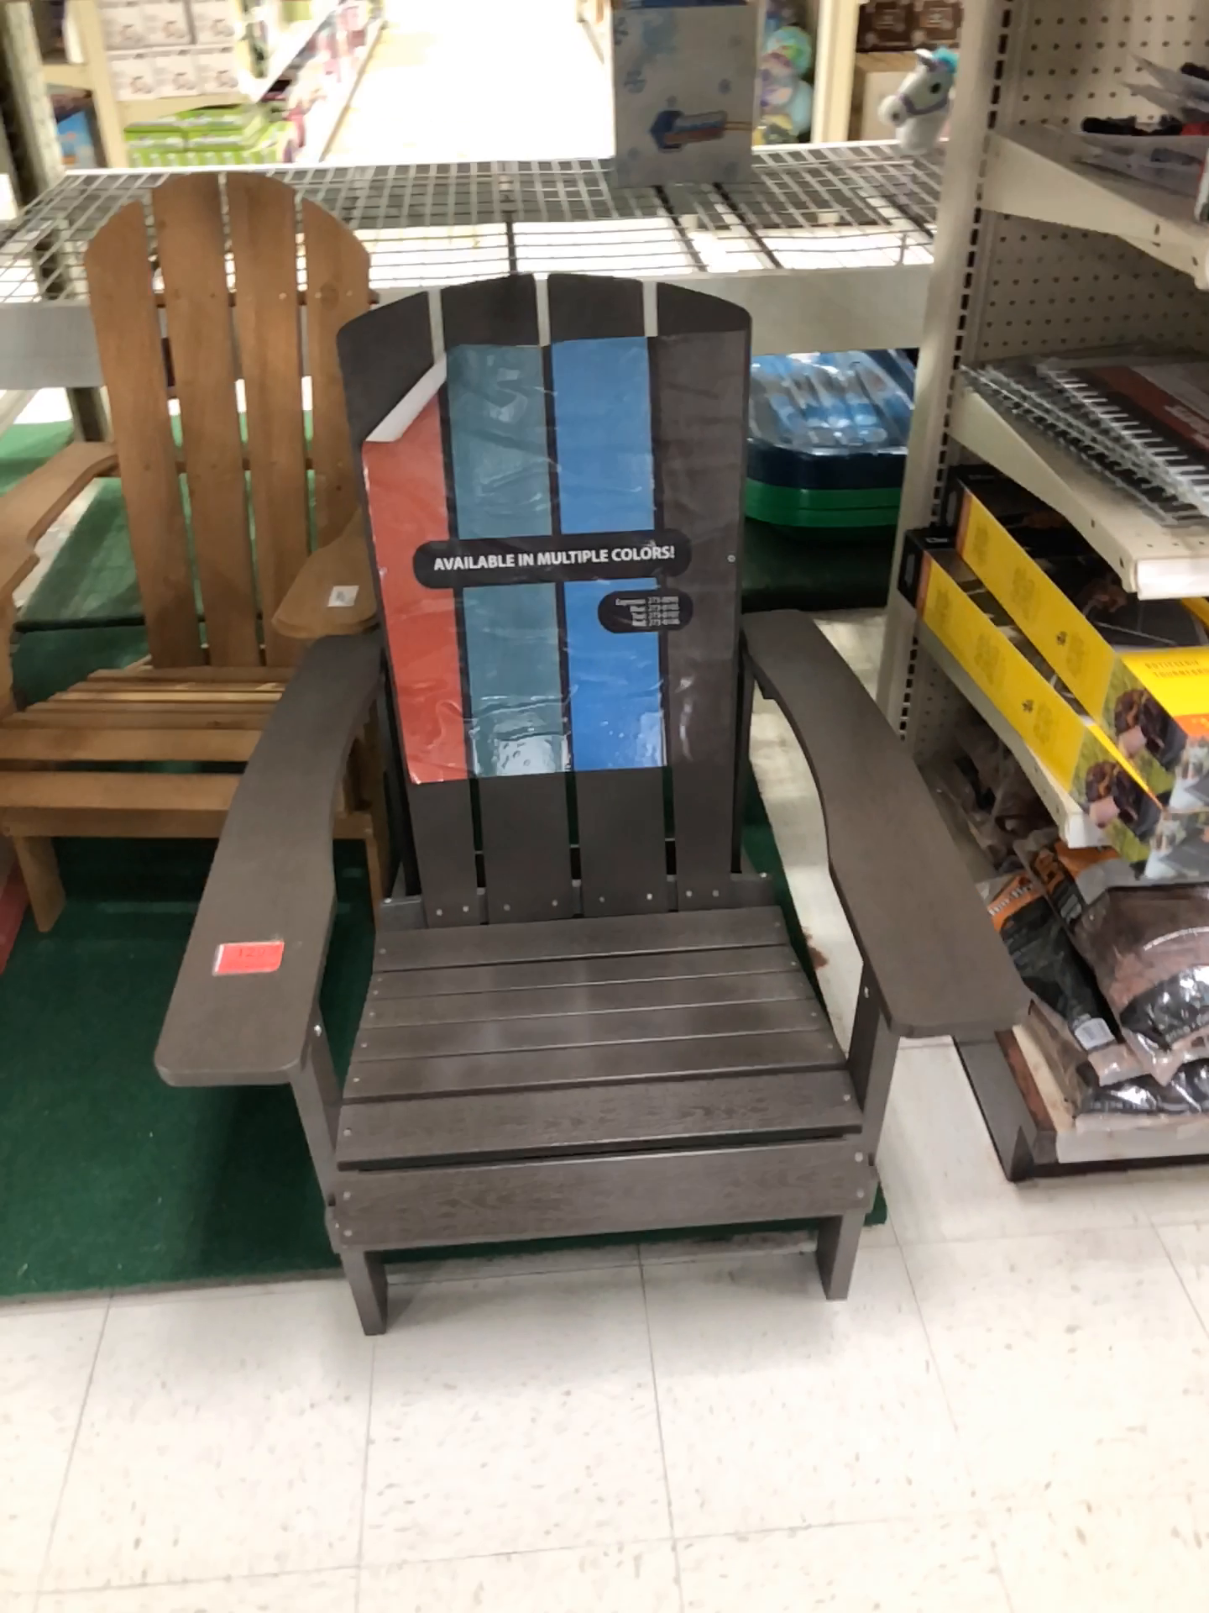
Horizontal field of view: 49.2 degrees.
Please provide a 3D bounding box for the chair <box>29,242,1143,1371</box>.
[{"bbox_3d":[-0.031,-0.059,1.460,0.717,0.816,0.919,-4,37,-3],"label":"chair"}]

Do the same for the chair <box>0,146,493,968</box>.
[{"bbox_3d":[-0.558,-0.410,1.962,0.637,0.846,0.979,0,37,2],"label":"chair"}]
